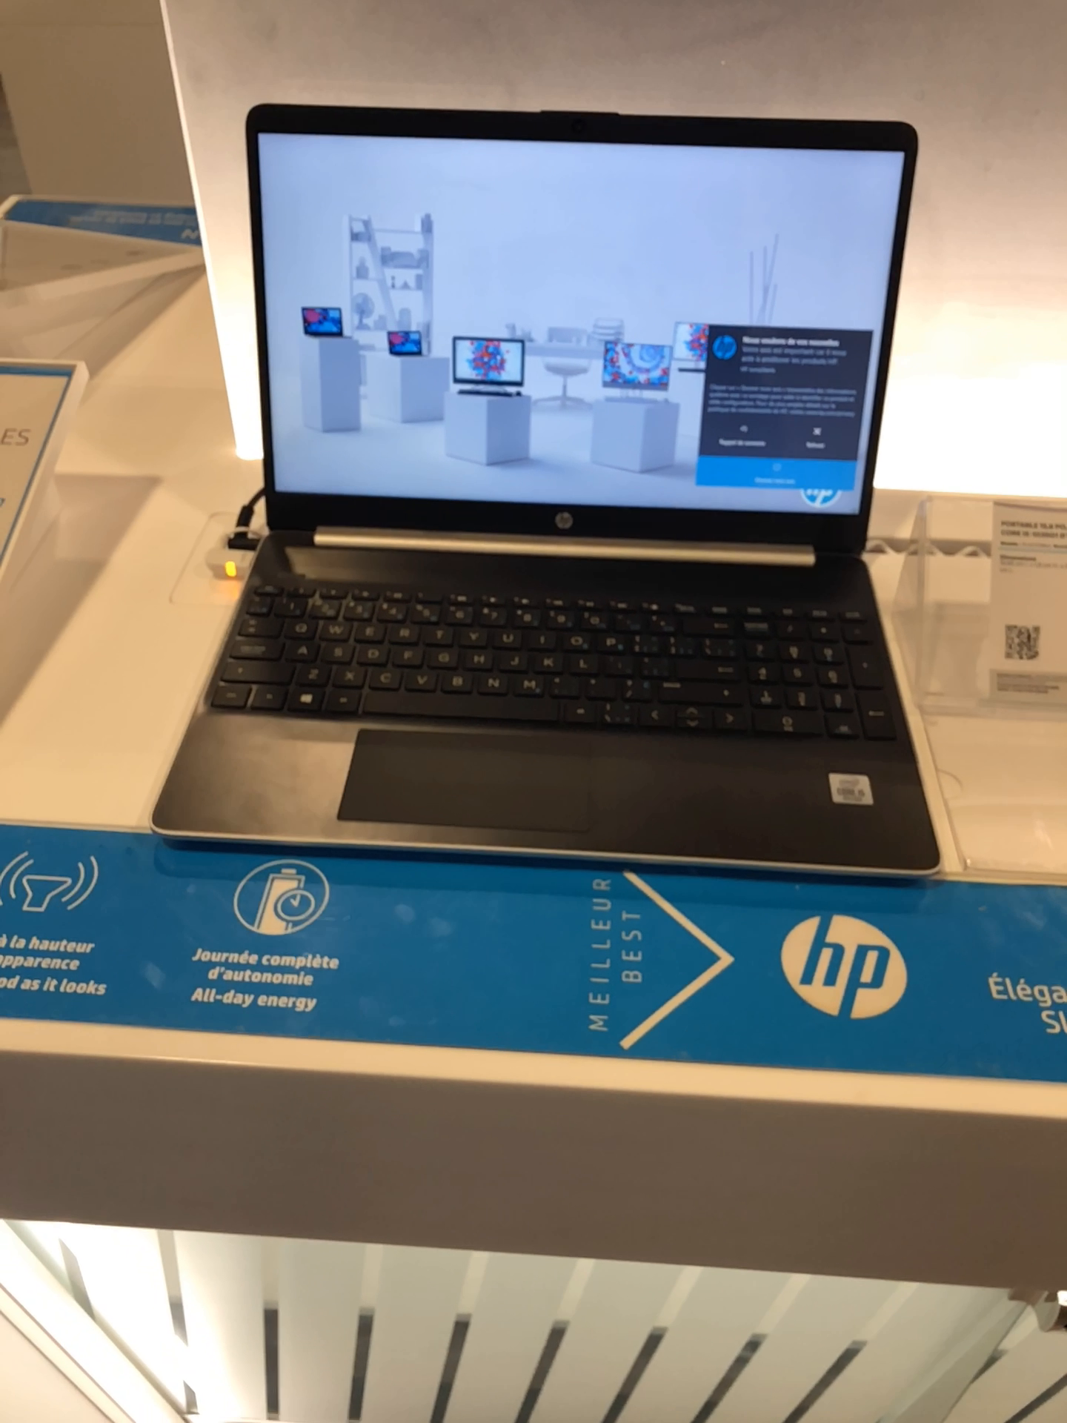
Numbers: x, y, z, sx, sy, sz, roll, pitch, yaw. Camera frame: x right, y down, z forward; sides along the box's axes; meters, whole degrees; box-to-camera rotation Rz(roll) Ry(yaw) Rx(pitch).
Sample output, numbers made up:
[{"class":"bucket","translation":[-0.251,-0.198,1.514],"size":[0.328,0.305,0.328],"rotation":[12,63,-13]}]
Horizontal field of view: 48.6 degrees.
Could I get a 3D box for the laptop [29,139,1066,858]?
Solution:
[{"class":"laptop","translation":[0.013,-0.122,0.570],"size":[0.336,0.206,0.317],"rotation":[3,40,3]}]
